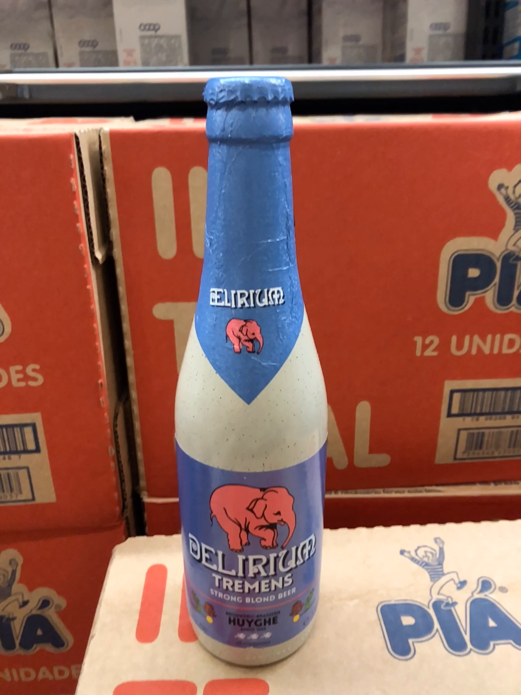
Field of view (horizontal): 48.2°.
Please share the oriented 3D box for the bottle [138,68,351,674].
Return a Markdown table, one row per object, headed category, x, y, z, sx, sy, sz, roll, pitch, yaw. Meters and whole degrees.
| category | x | y | z | sx | sy | sz | roll | pitch | yaw |
| --- | --- | --- | --- | --- | --- | --- | --- | --- | --- |
| bottle | -0.002 | 0.016 | 0.227 | 0.060 | 0.219 | 0.060 | -1 | 18 | 0 |
